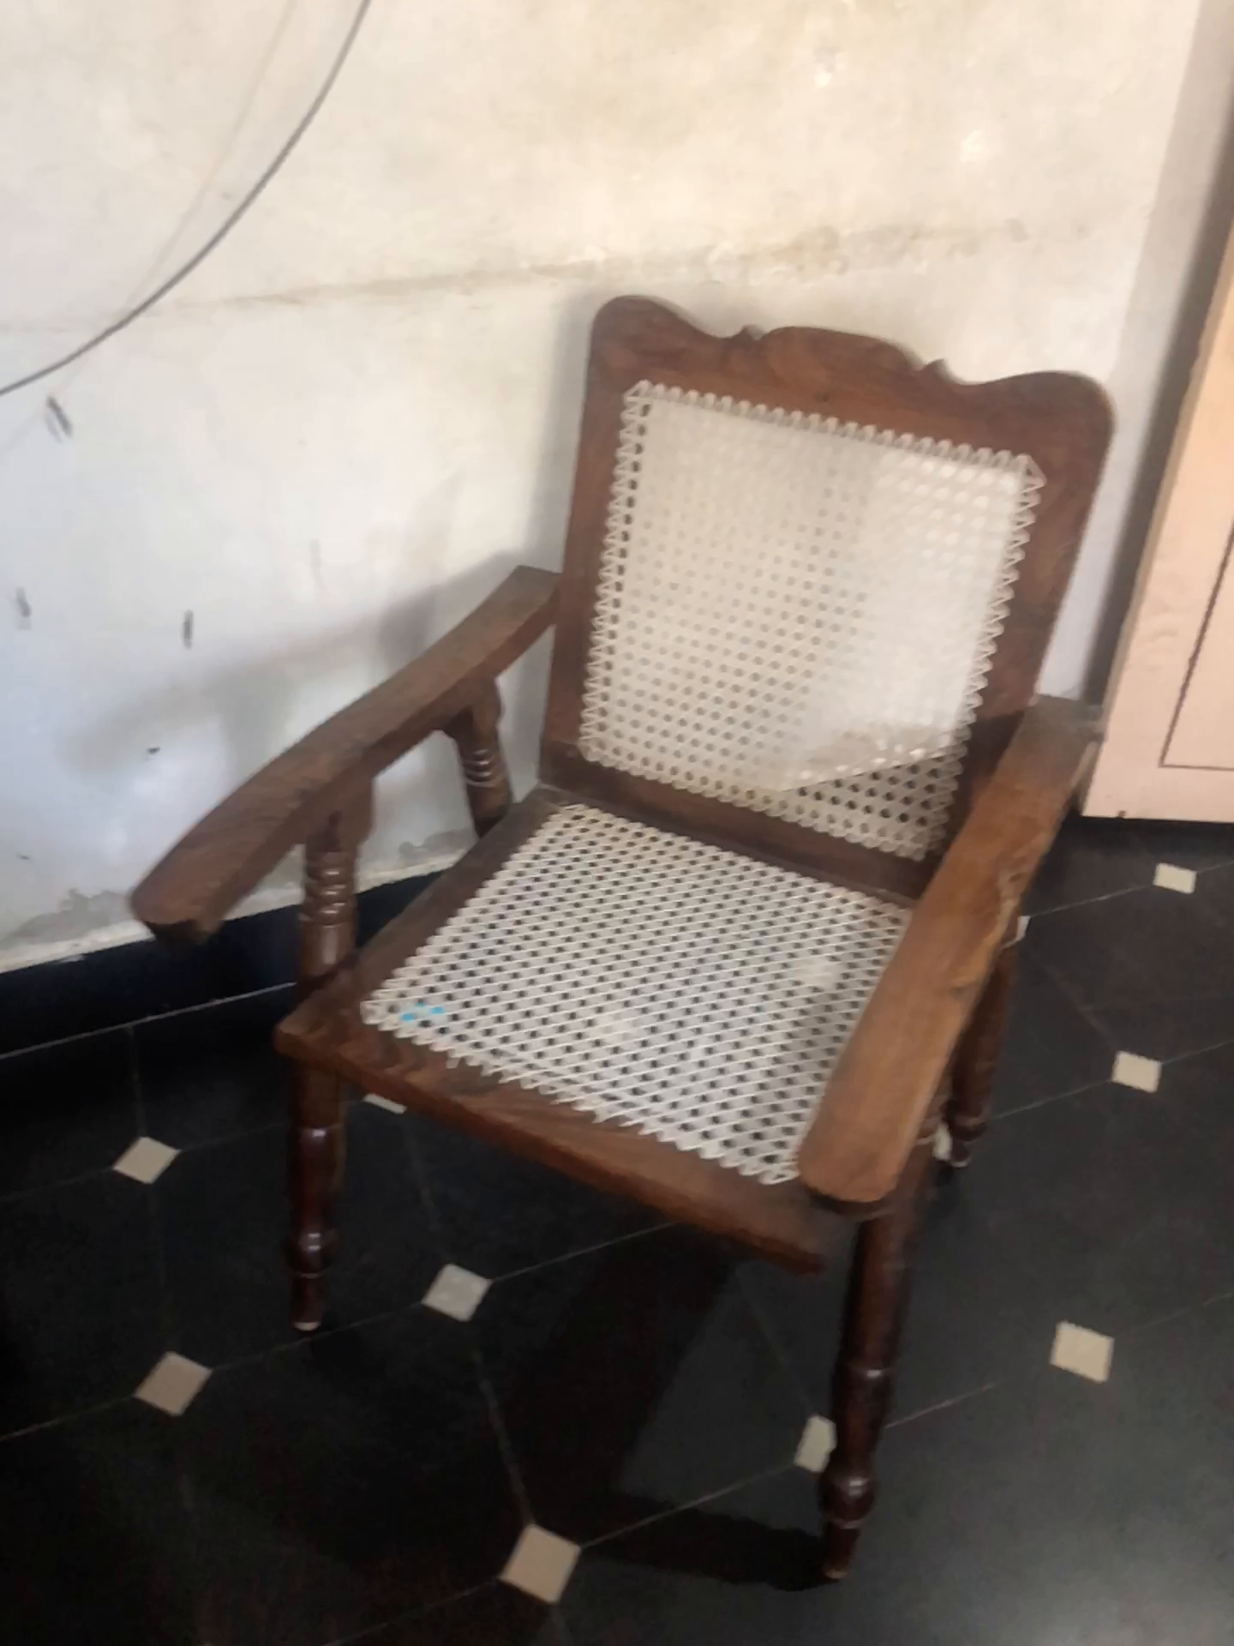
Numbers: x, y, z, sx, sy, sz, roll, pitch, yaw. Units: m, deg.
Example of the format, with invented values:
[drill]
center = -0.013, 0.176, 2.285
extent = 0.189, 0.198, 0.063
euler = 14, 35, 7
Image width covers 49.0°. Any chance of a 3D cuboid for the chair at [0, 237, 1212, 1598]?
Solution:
[chair]
center = 0.038, 0.055, 1.095
extent = 0.580, 0.796, 0.563
euler = 16, 41, 18
